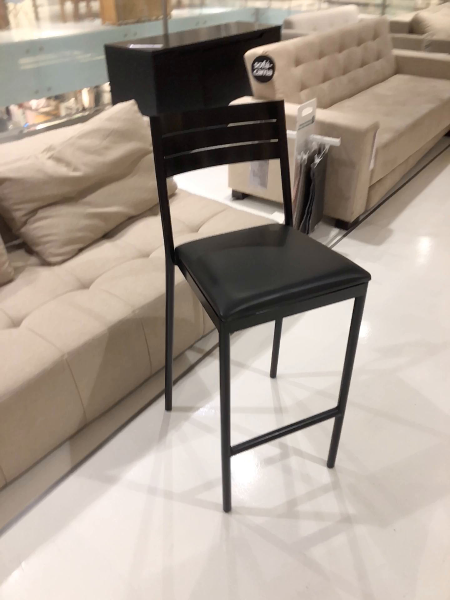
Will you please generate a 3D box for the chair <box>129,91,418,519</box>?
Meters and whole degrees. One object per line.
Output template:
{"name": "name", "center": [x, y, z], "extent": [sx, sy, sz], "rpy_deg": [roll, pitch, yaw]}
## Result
{"name": "chair", "center": [0.072, 0.022, 1.292], "extent": [0.421, 0.942, 0.473], "rpy_deg": [-15, 38, -20]}
